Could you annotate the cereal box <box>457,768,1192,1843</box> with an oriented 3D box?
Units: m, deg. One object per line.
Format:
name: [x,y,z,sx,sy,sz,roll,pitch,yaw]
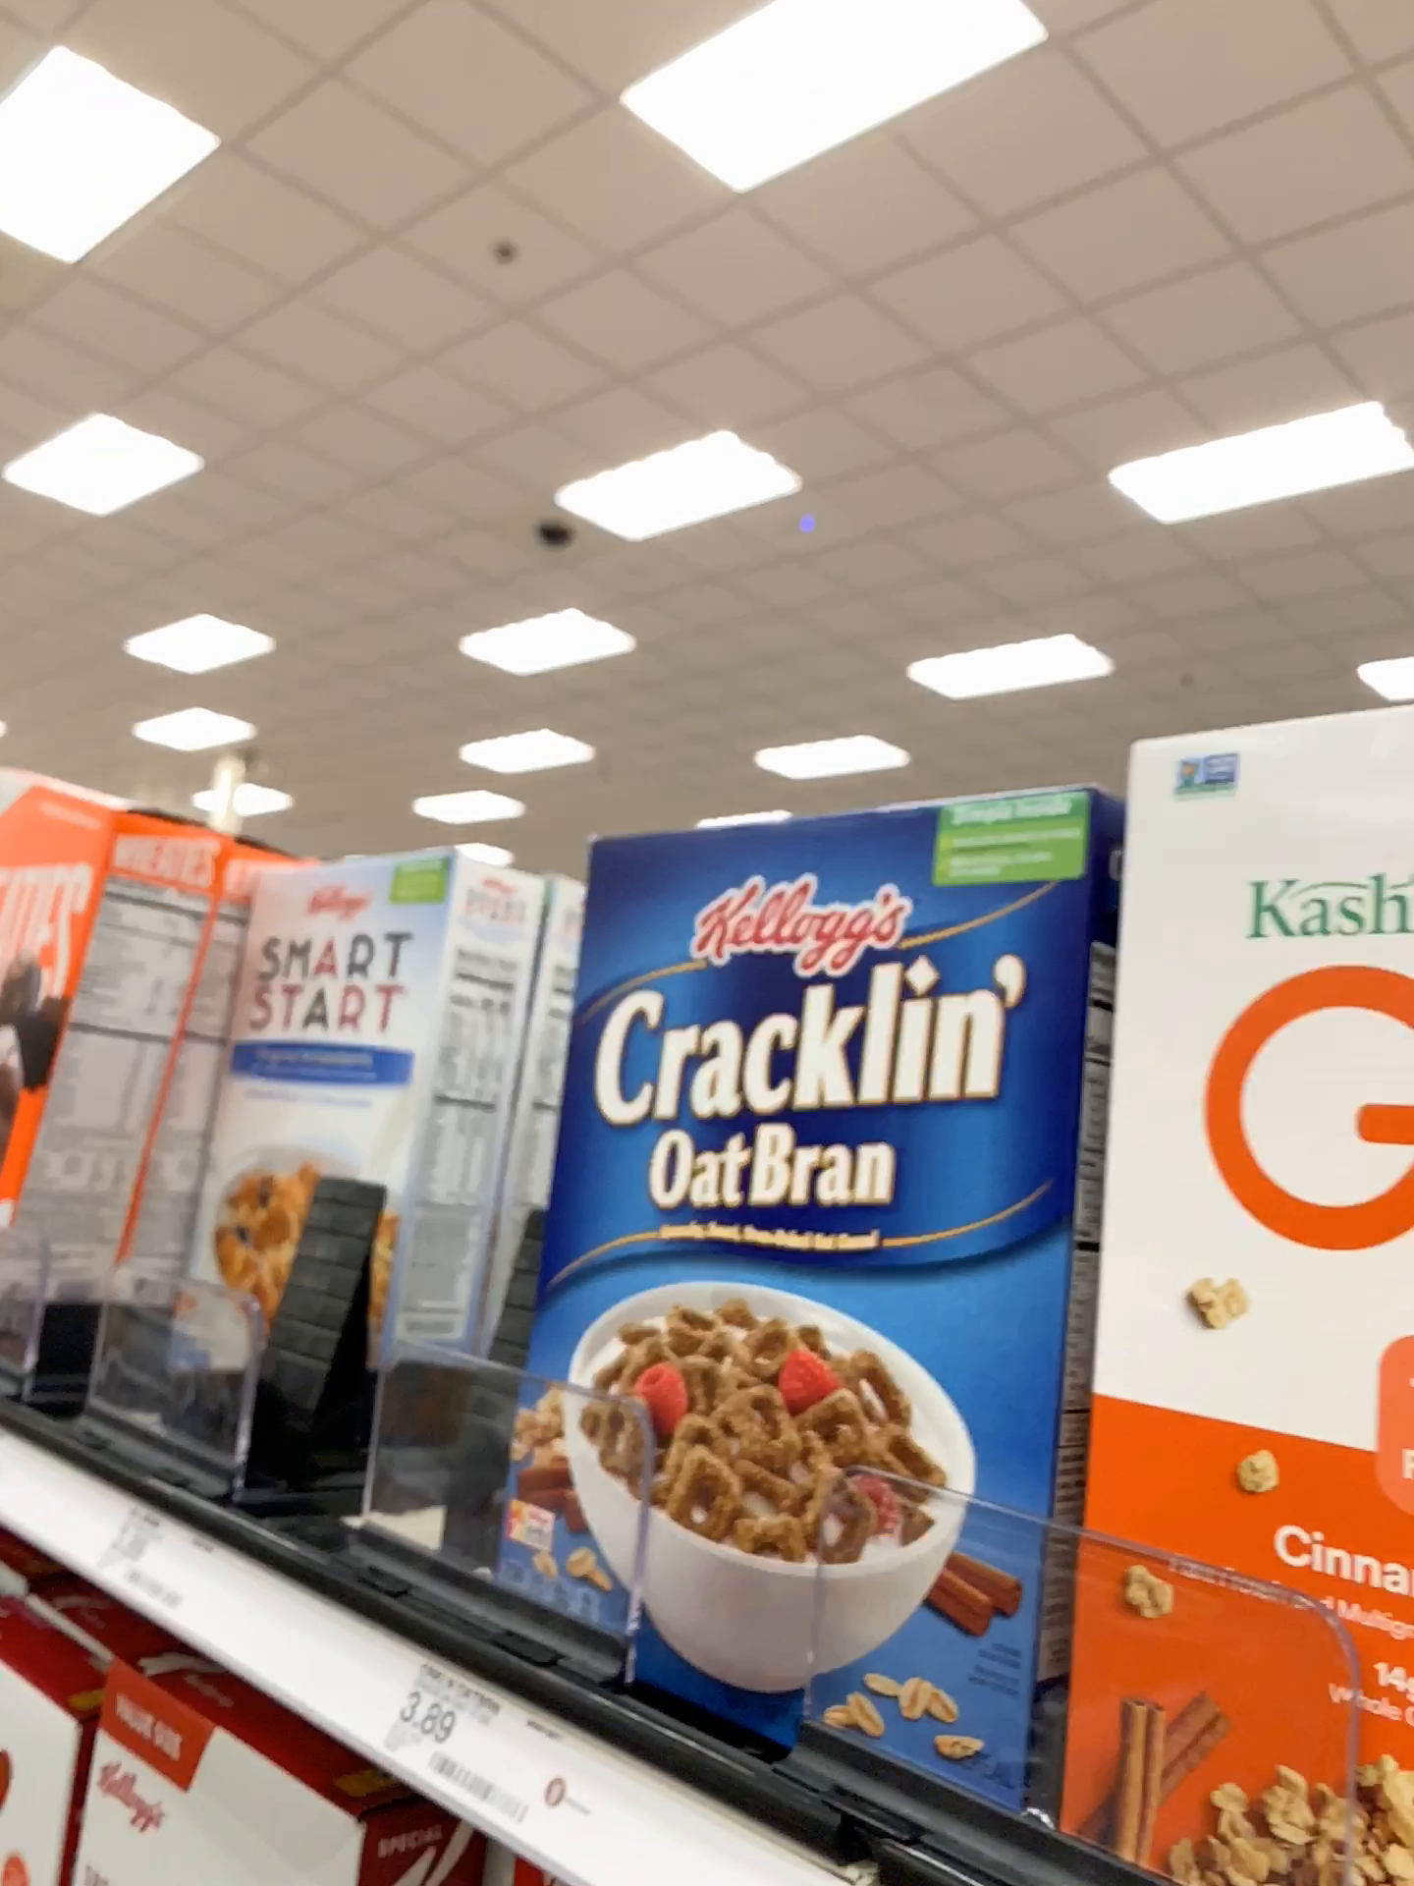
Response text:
cereal box: [0.027,0.081,0.419,0.190,0.241,0.050,-1,-12,40]
